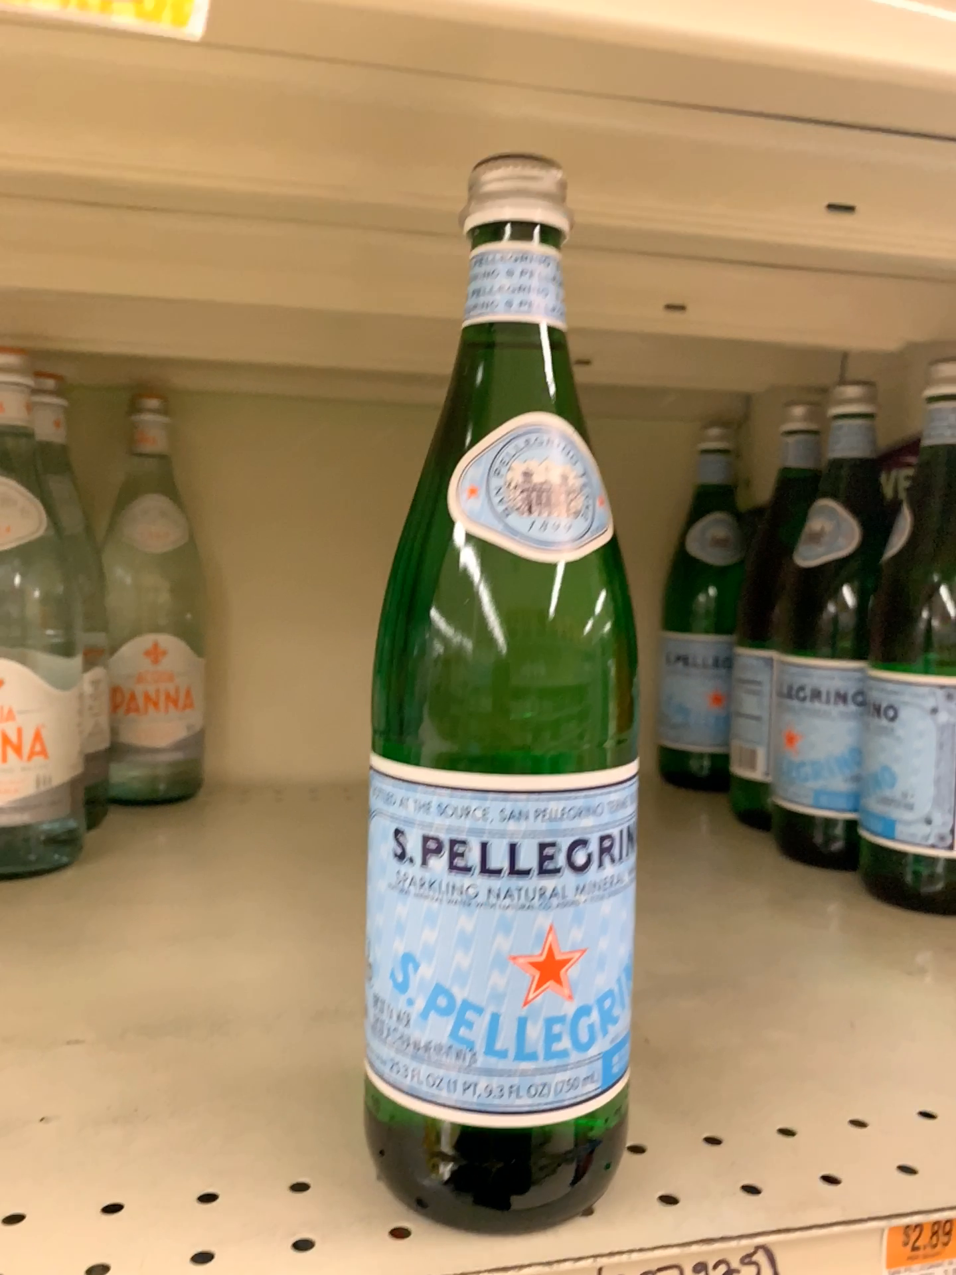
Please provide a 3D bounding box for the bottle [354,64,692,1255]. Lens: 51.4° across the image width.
[{"bbox_3d":[0.007,0.011,0.286,0.078,0.301,0.065,1,5,-6],"label":"bottle"}]
